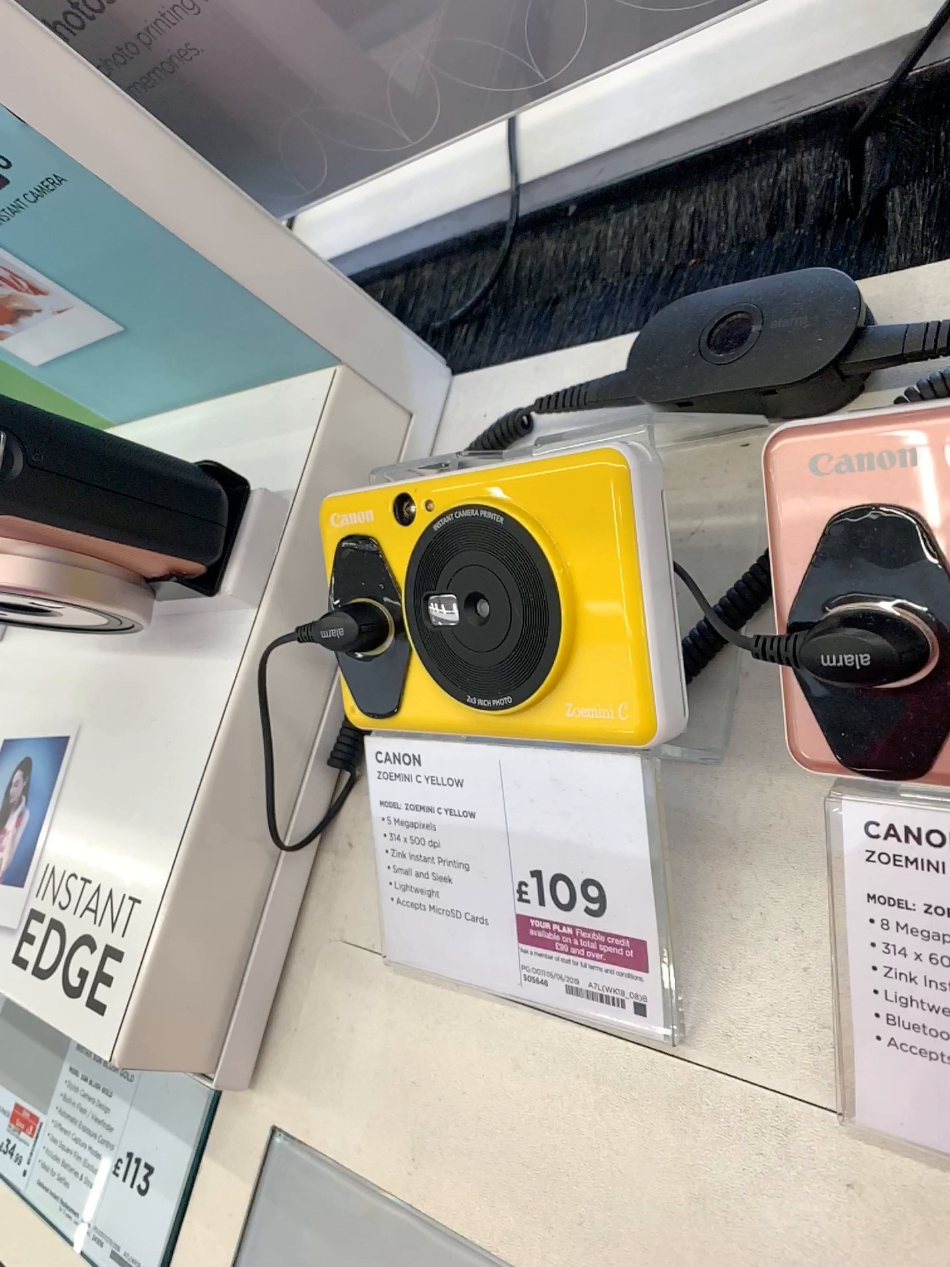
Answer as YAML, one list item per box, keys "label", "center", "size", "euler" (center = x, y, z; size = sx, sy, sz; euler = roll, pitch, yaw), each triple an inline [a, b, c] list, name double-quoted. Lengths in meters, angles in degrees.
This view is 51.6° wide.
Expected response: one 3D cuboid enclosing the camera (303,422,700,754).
- label: "camera"
  center: [0.002, -0.010, 0.283]
  size: [0.121, 0.020, 0.080]
  euler: [-2, 98, 42]
